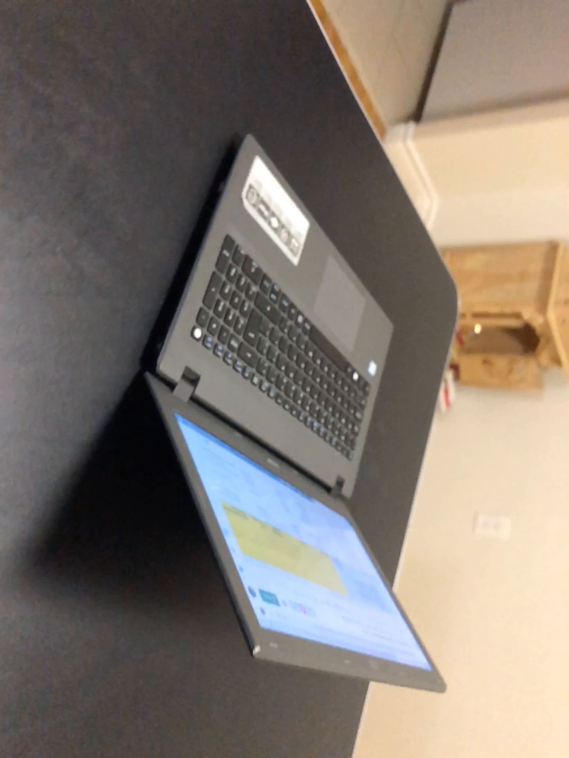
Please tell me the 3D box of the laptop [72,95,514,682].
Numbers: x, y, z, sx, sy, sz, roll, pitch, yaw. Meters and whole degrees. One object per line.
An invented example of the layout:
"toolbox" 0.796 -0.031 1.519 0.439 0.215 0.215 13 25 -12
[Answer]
"laptop" 0.069 0.036 0.626 0.376 0.161 0.430 42 59 -50
